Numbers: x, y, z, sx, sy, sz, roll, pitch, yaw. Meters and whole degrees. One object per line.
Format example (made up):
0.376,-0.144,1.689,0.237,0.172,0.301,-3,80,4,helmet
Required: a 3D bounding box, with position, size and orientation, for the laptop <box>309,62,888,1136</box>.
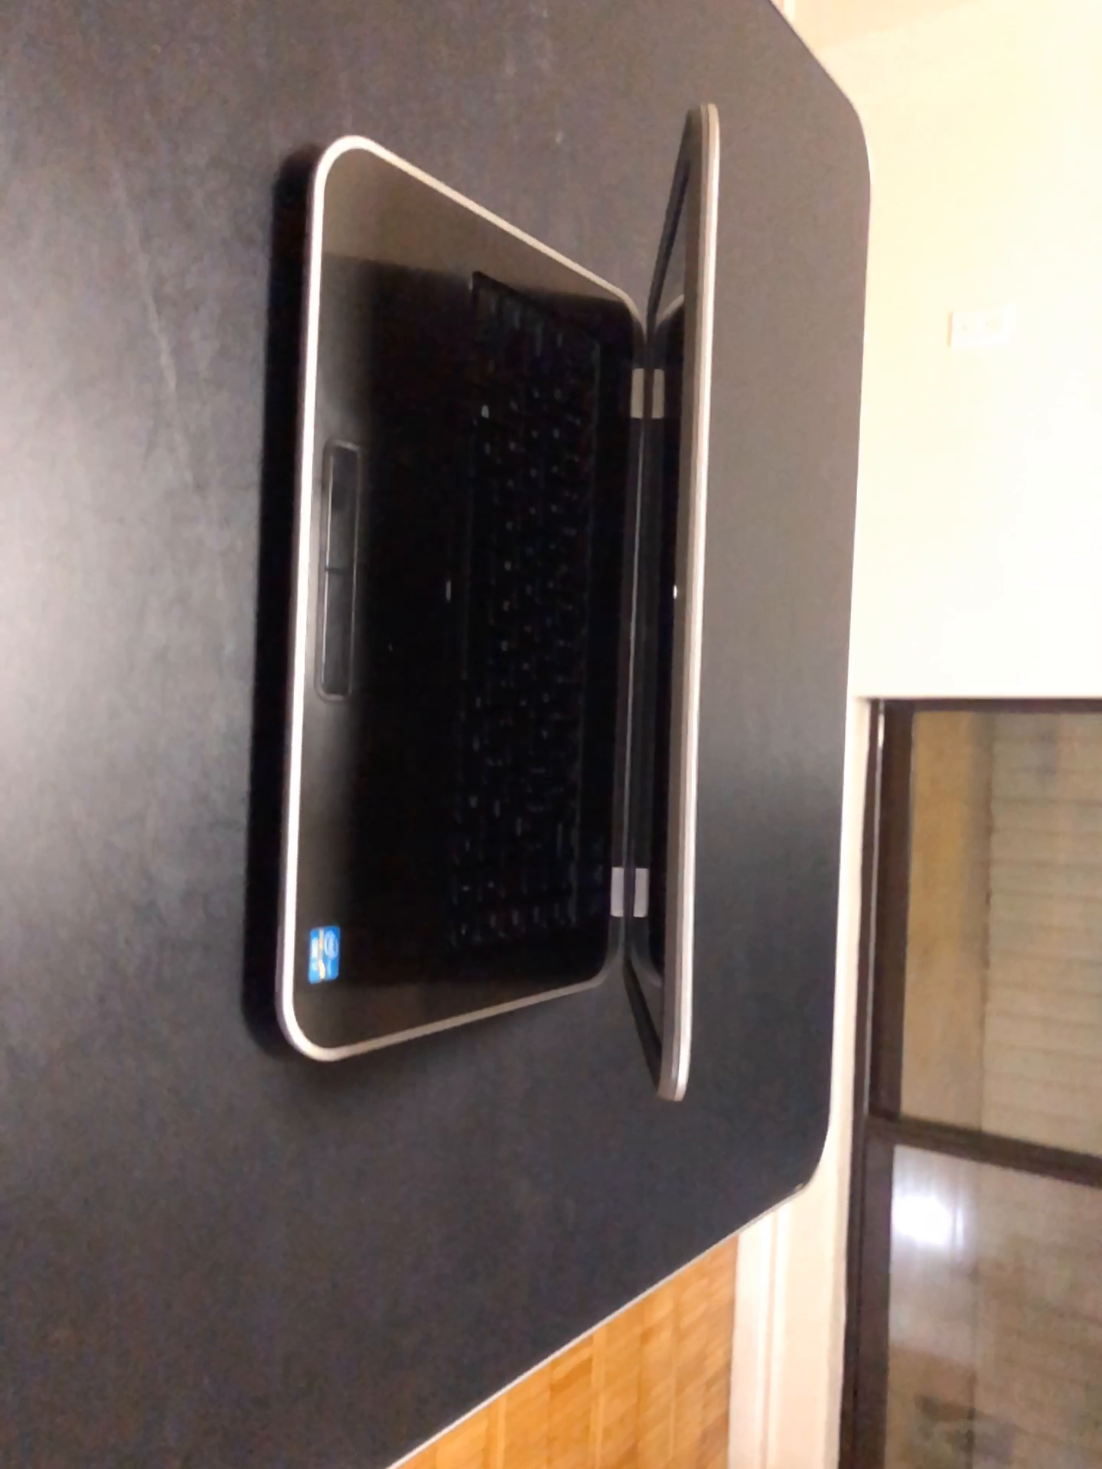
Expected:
0.036,-0.045,0.540,0.241,0.137,0.356,1,91,-56,laptop
